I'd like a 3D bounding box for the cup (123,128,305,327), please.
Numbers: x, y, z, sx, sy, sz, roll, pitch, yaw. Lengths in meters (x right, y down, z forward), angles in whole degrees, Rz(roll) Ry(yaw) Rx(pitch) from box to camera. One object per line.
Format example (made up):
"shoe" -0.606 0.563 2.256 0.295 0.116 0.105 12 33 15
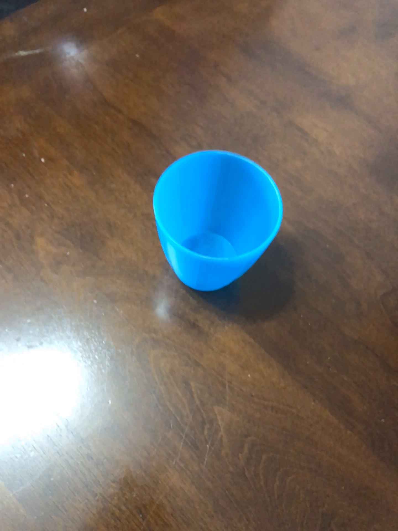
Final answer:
"cup" 0.007 -0.021 0.286 0.080 0.080 0.070 26 65 7
